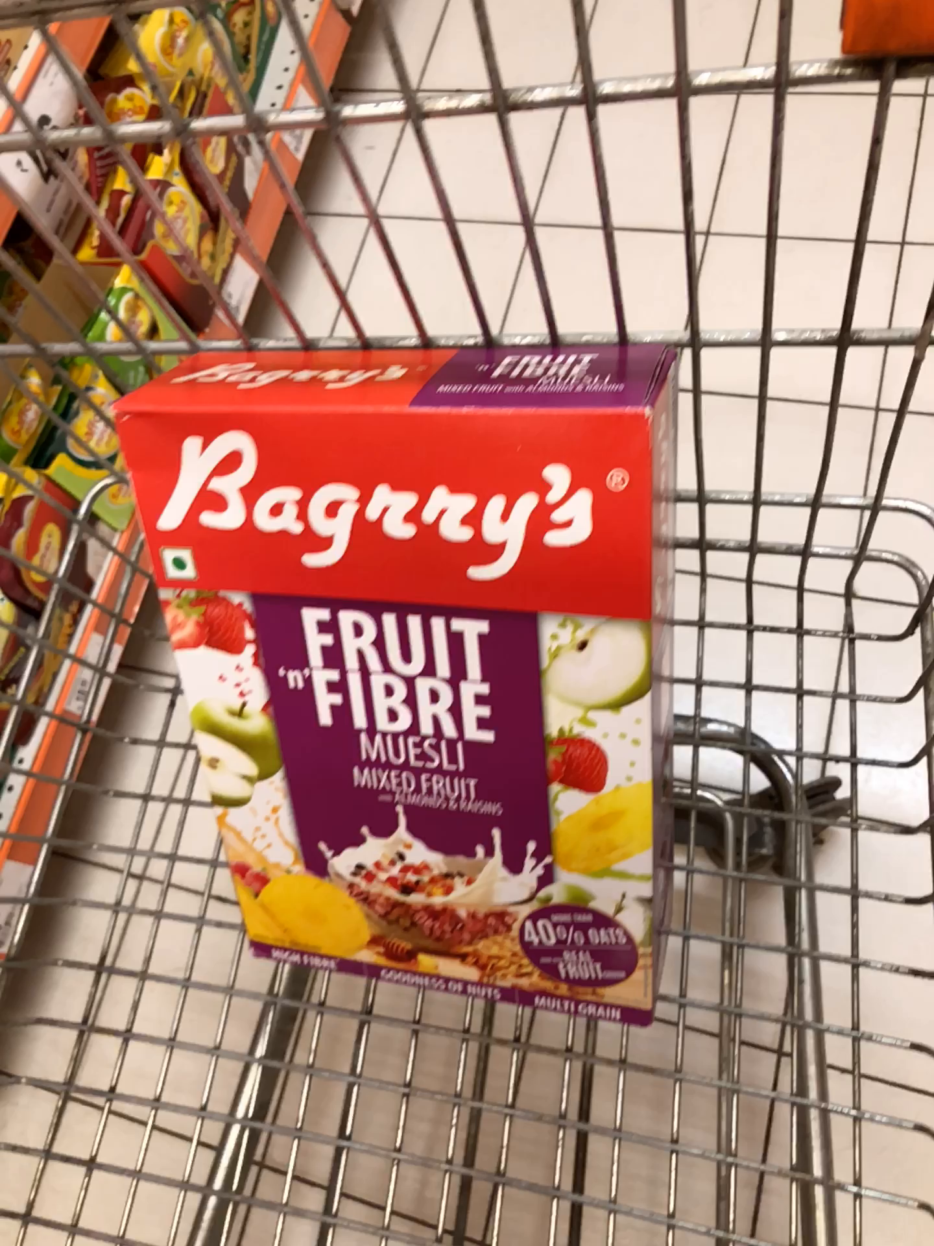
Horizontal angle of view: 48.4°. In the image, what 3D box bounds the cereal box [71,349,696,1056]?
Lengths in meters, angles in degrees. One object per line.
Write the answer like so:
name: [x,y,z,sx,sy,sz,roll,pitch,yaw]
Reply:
cereal box: [-0.018,0.030,0.393,0.190,0.249,0.070,4,29,17]
